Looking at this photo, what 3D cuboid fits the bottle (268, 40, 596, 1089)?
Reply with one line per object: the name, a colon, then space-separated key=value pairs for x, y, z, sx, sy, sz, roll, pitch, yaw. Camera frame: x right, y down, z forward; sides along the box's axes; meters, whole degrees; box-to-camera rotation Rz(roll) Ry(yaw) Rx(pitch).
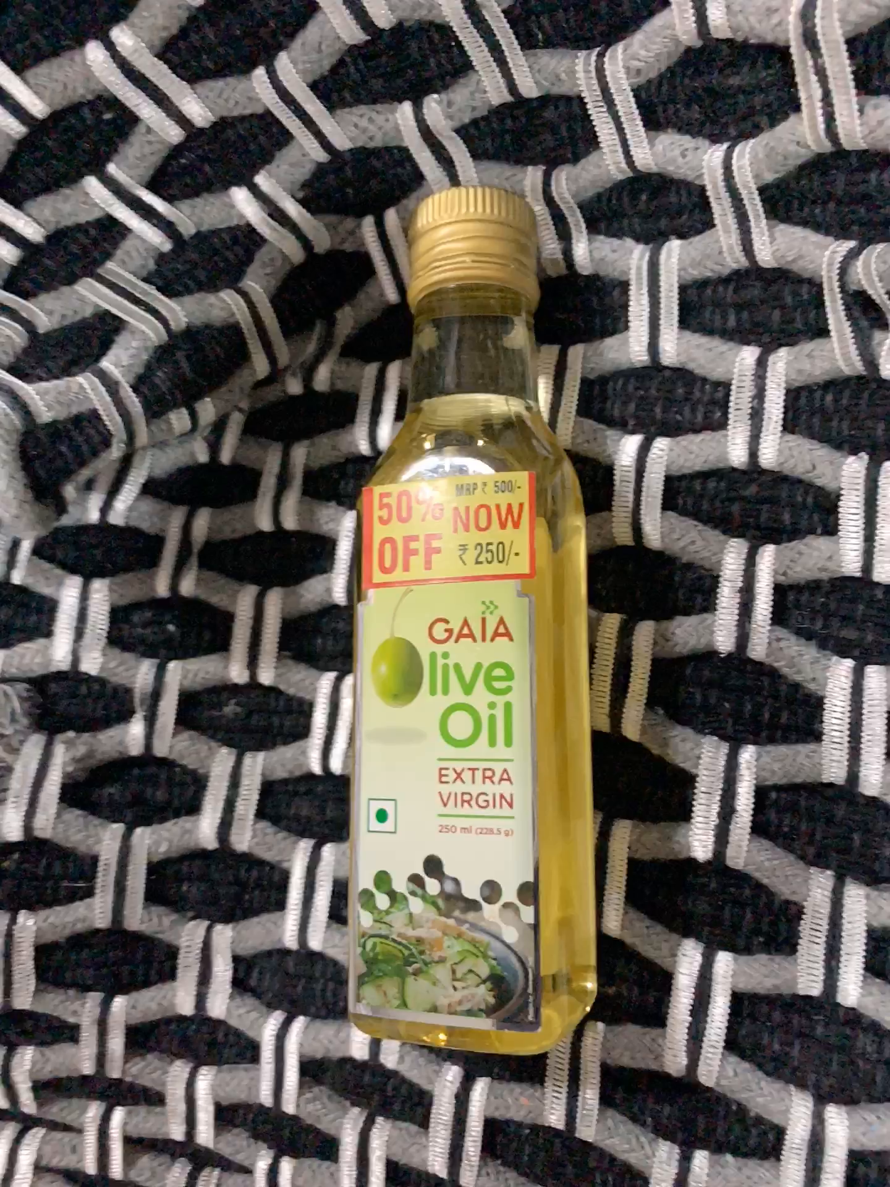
bottle: x=0.001 y=-0.008 z=0.198 sx=0.050 sy=0.050 sz=0.190 roll=-2 pitch=81 yaw=21
